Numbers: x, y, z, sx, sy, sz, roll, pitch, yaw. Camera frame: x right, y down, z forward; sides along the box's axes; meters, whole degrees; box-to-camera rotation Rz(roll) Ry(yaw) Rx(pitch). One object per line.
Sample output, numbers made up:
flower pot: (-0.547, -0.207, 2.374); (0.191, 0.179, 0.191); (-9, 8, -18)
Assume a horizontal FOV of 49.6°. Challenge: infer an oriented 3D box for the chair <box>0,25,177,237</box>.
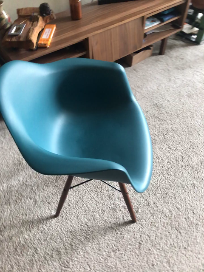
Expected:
chair: (-0.058, 0.034, 1.010); (0.560, 0.785, 0.584); (1, 52, 6)
